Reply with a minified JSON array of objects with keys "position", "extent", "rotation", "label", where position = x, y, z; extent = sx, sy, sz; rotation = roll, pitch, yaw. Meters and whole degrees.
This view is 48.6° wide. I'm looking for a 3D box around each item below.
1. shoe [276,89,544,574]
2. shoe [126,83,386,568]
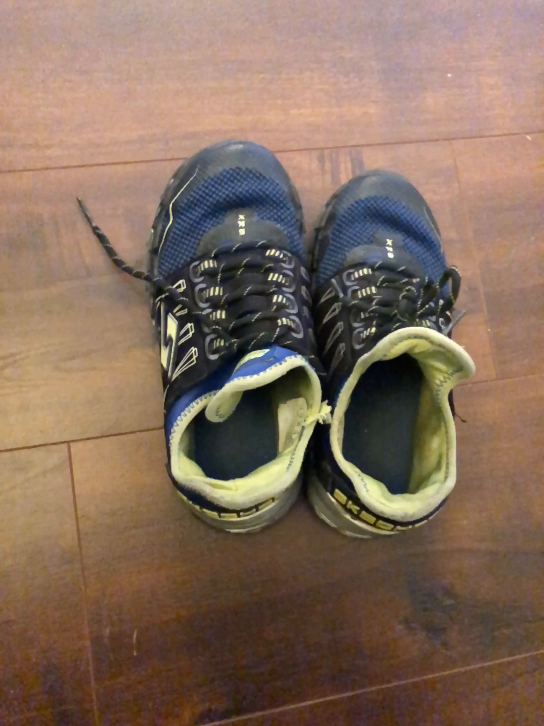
[{"position":[0.070,-0.010,0.329],"extent":[0.100,0.120,0.210],"rotation":[7,81,-6],"label":"shoe"},{"position":[-0.016,-0.016,0.322],"extent":[0.100,0.120,0.210],"rotation":[-3,82,-8],"label":"shoe"}]
